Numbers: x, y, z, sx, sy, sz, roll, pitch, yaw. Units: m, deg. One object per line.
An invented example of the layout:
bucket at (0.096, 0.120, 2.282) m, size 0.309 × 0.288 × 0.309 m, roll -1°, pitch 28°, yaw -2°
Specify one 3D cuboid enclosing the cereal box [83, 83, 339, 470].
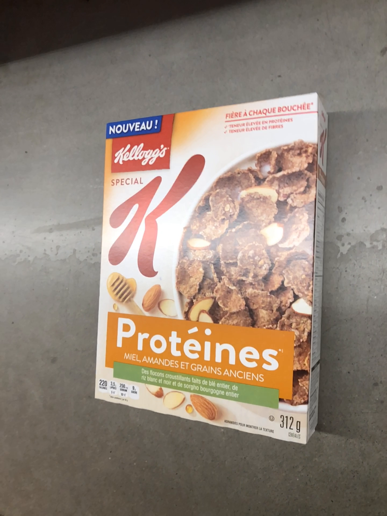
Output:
cereal box at (0.007, 0.010, 0.346) m, size 0.201 × 0.050 × 0.250 m, roll 1°, pitch 90°, yaw 28°
